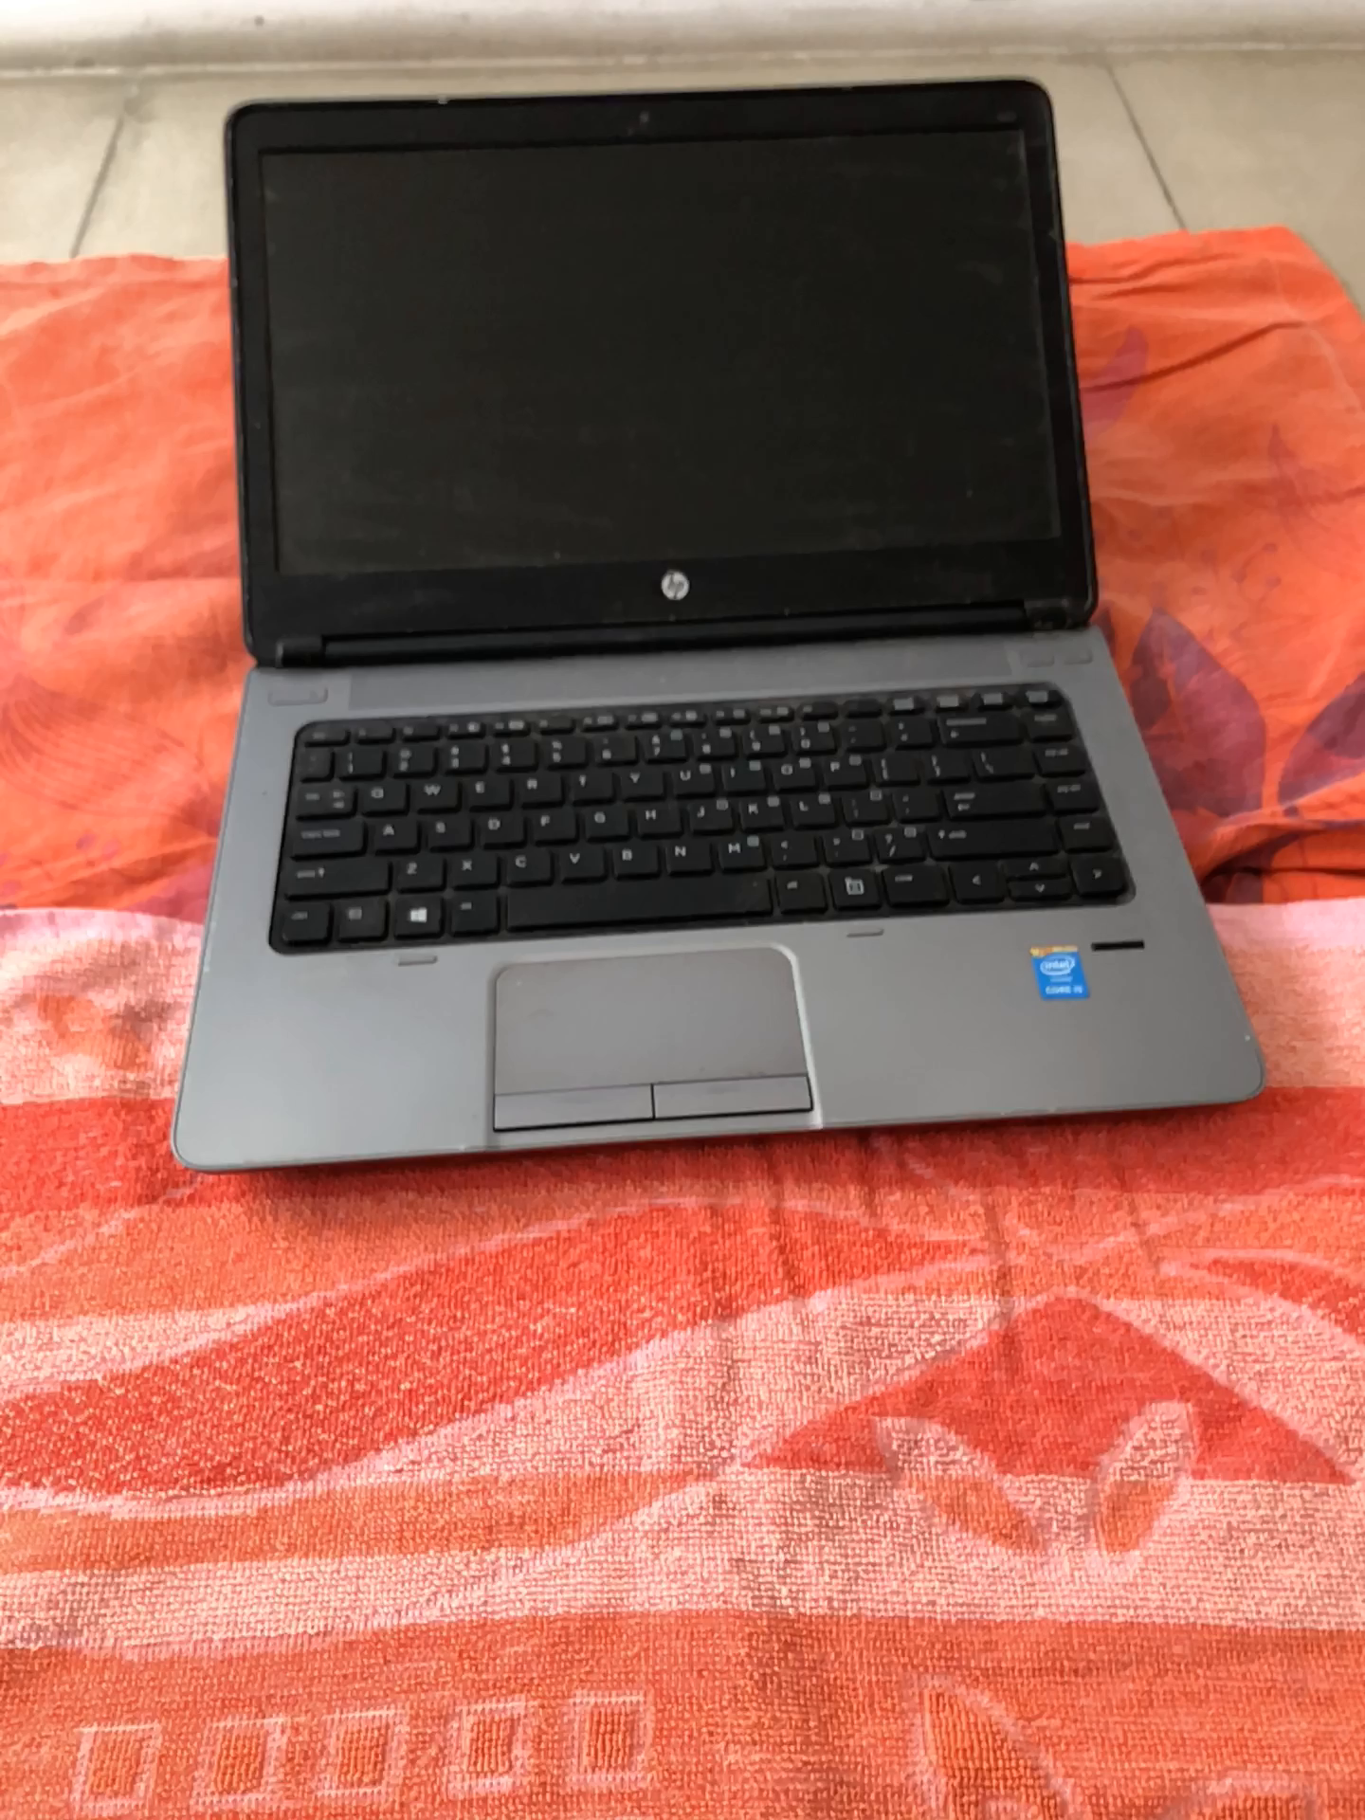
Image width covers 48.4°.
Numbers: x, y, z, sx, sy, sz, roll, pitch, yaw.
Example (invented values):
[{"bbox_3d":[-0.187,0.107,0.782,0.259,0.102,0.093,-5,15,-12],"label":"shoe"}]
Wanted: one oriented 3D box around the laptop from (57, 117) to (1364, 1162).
[{"bbox_3d":[0.002,-0.128,0.539,0.328,0.111,0.412,-3,52,-3],"label":"laptop"}]
